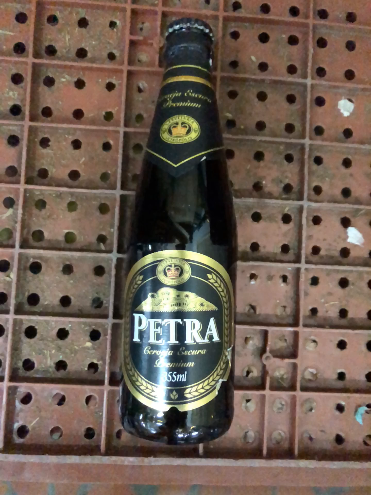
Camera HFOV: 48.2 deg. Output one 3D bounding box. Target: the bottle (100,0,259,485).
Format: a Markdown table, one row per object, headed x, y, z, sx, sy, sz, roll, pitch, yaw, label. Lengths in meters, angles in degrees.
| x | y | z | sx | sy | sz | roll | pitch | yaw | label |
| --- | --- | --- | --- | --- | --- | --- | --- | --- | --- |
| -0.003 | -0.018 | 0.223 | 0.070 | 0.060 | 0.250 | 1 | 85 | -4 | bottle |
